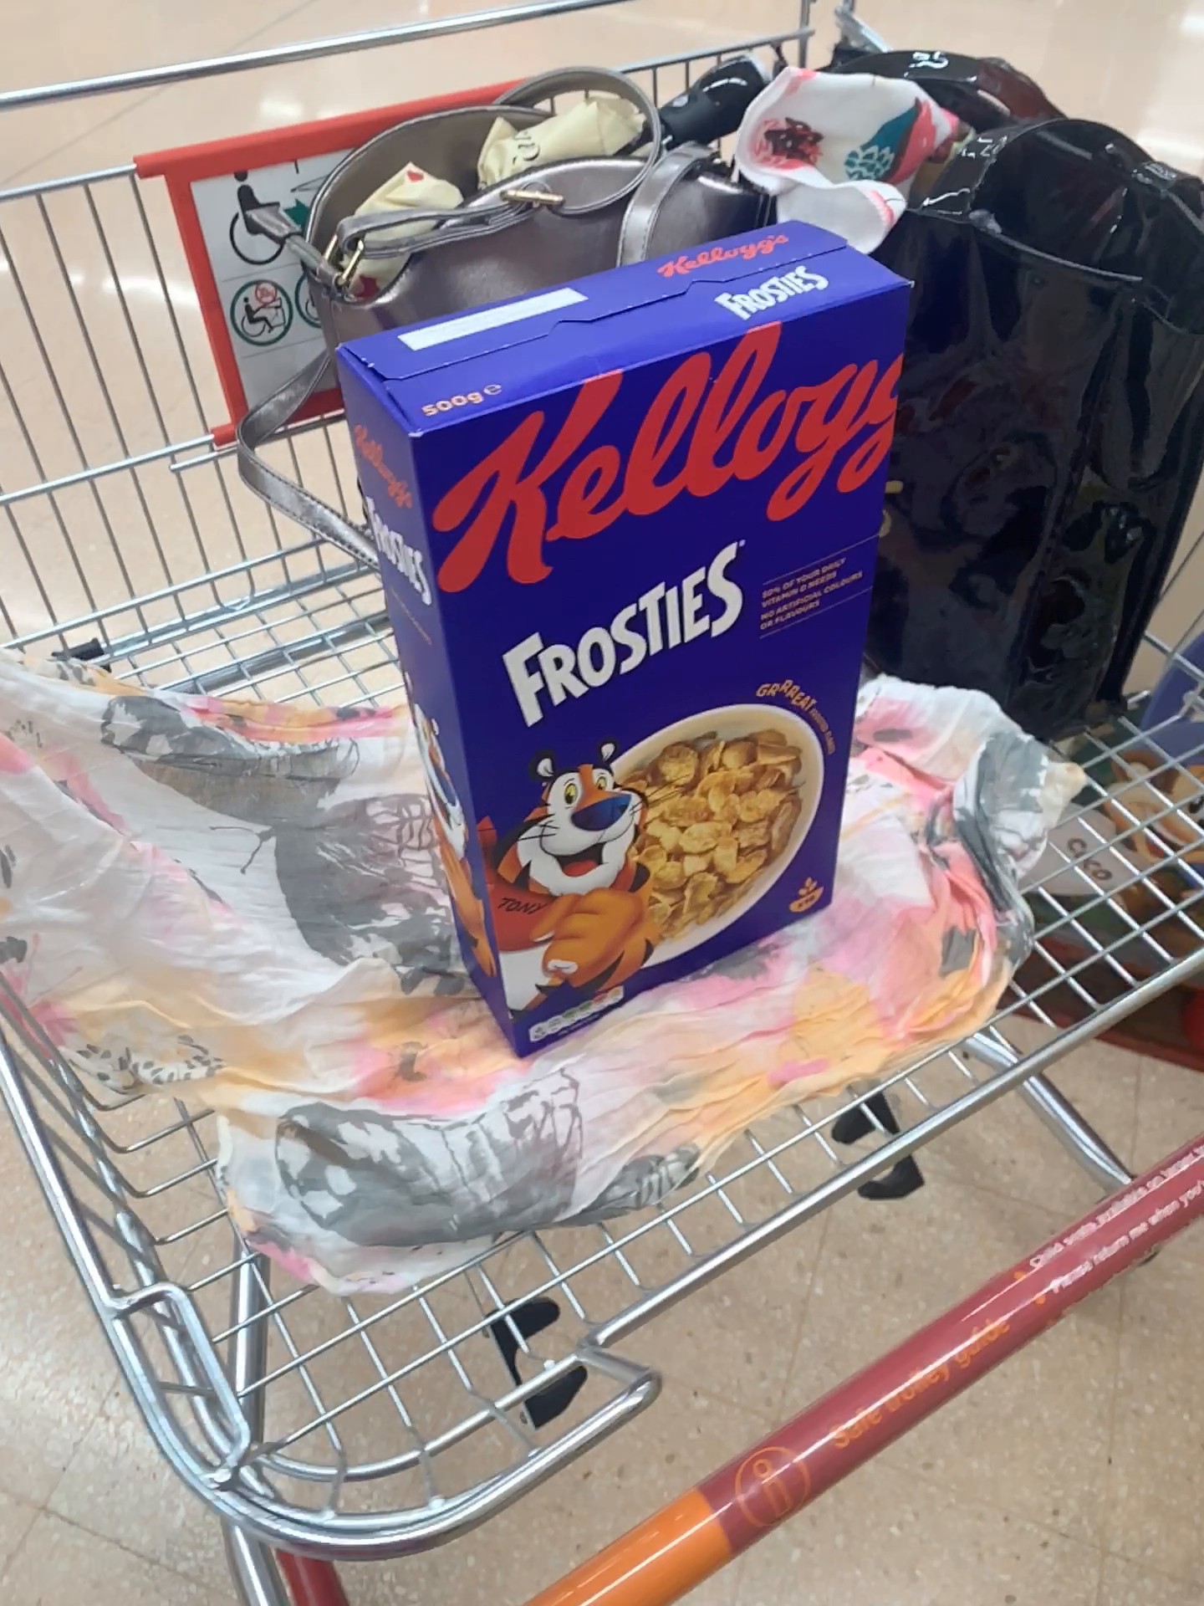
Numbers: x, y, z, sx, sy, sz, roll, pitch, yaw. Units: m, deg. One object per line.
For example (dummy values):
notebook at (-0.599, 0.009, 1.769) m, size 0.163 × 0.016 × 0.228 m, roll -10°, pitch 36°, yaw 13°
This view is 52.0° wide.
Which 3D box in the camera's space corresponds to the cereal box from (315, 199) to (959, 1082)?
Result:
cereal box at (0.020, -0.053, 0.537) m, size 0.210 × 0.337 × 0.081 m, roll -23°, pitch 46°, yaw -21°
